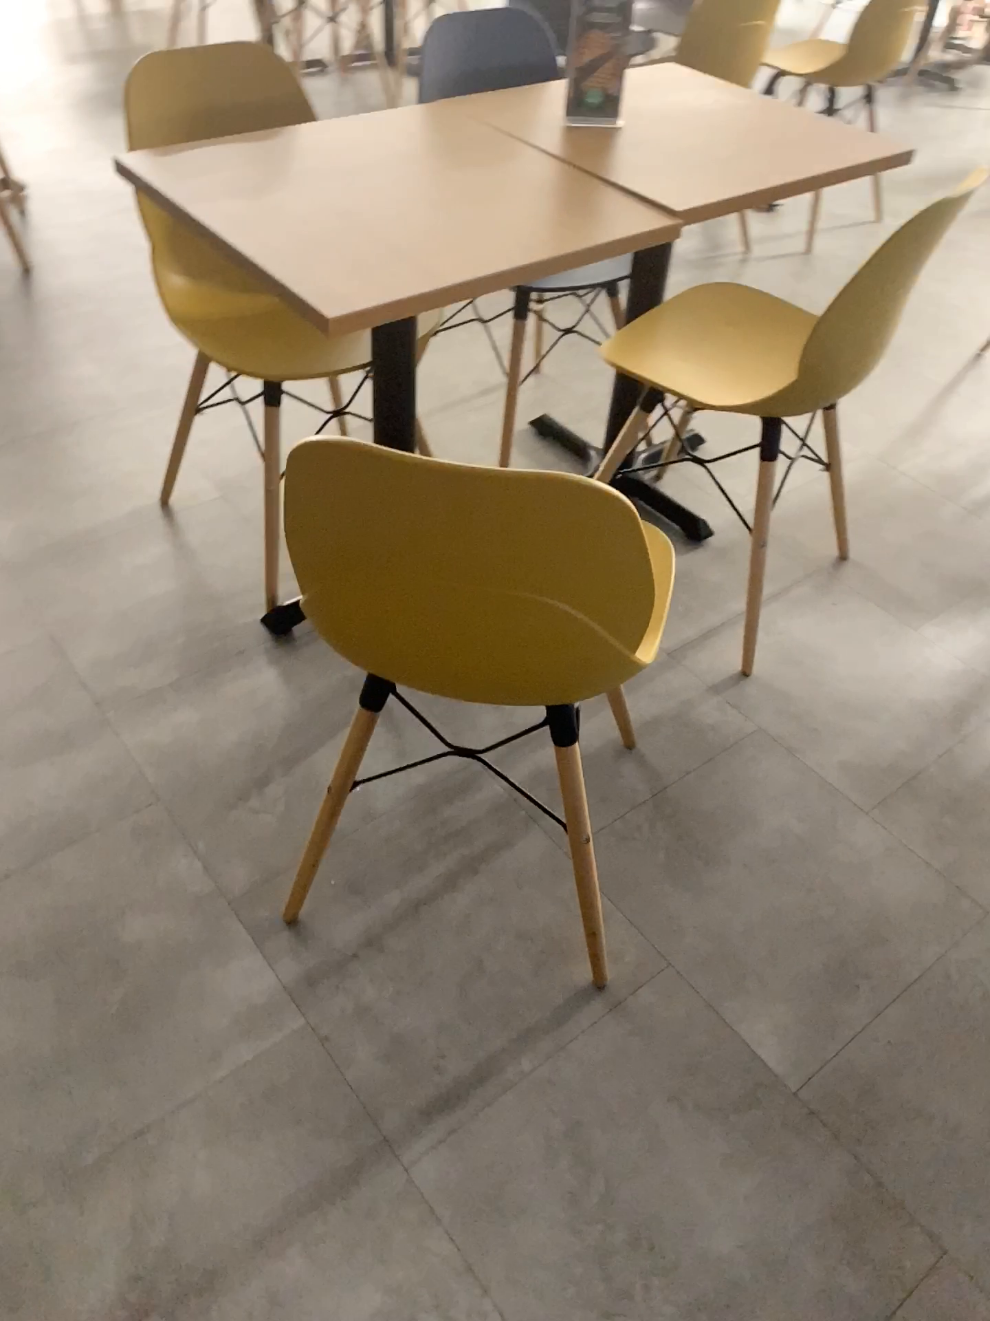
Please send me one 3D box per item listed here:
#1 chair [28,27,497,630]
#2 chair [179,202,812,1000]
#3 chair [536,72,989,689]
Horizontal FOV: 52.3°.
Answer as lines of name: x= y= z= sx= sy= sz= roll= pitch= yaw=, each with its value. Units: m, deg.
chair: x=-0.366 y=-0.576 z=1.757 sx=0.499 sy=0.776 sz=0.494 roll=-29 pitch=52 yaw=-30
chair: x=0.016 y=-0.048 z=1.256 sx=0.517 sy=0.786 sz=0.496 roll=9 pitch=44 yaw=5
chair: x=0.446 y=-0.475 z=1.725 sx=0.493 sy=0.776 sz=0.499 roll=30 pitch=49 yaw=25
